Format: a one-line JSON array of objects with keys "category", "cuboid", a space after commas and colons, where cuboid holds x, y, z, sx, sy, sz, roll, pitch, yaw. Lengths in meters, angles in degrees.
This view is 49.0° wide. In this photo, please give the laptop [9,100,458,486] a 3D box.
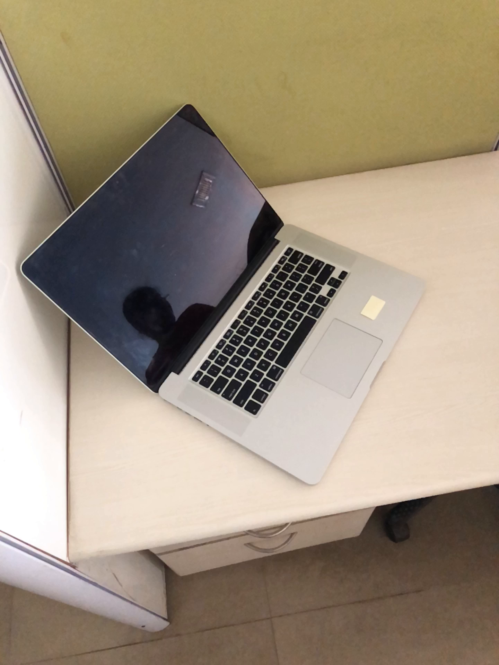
[{"category": "laptop", "cuboid": [-0.007, -0.074, 0.714, 0.403, 0.163, 0.346, 27, 63, 17]}]
